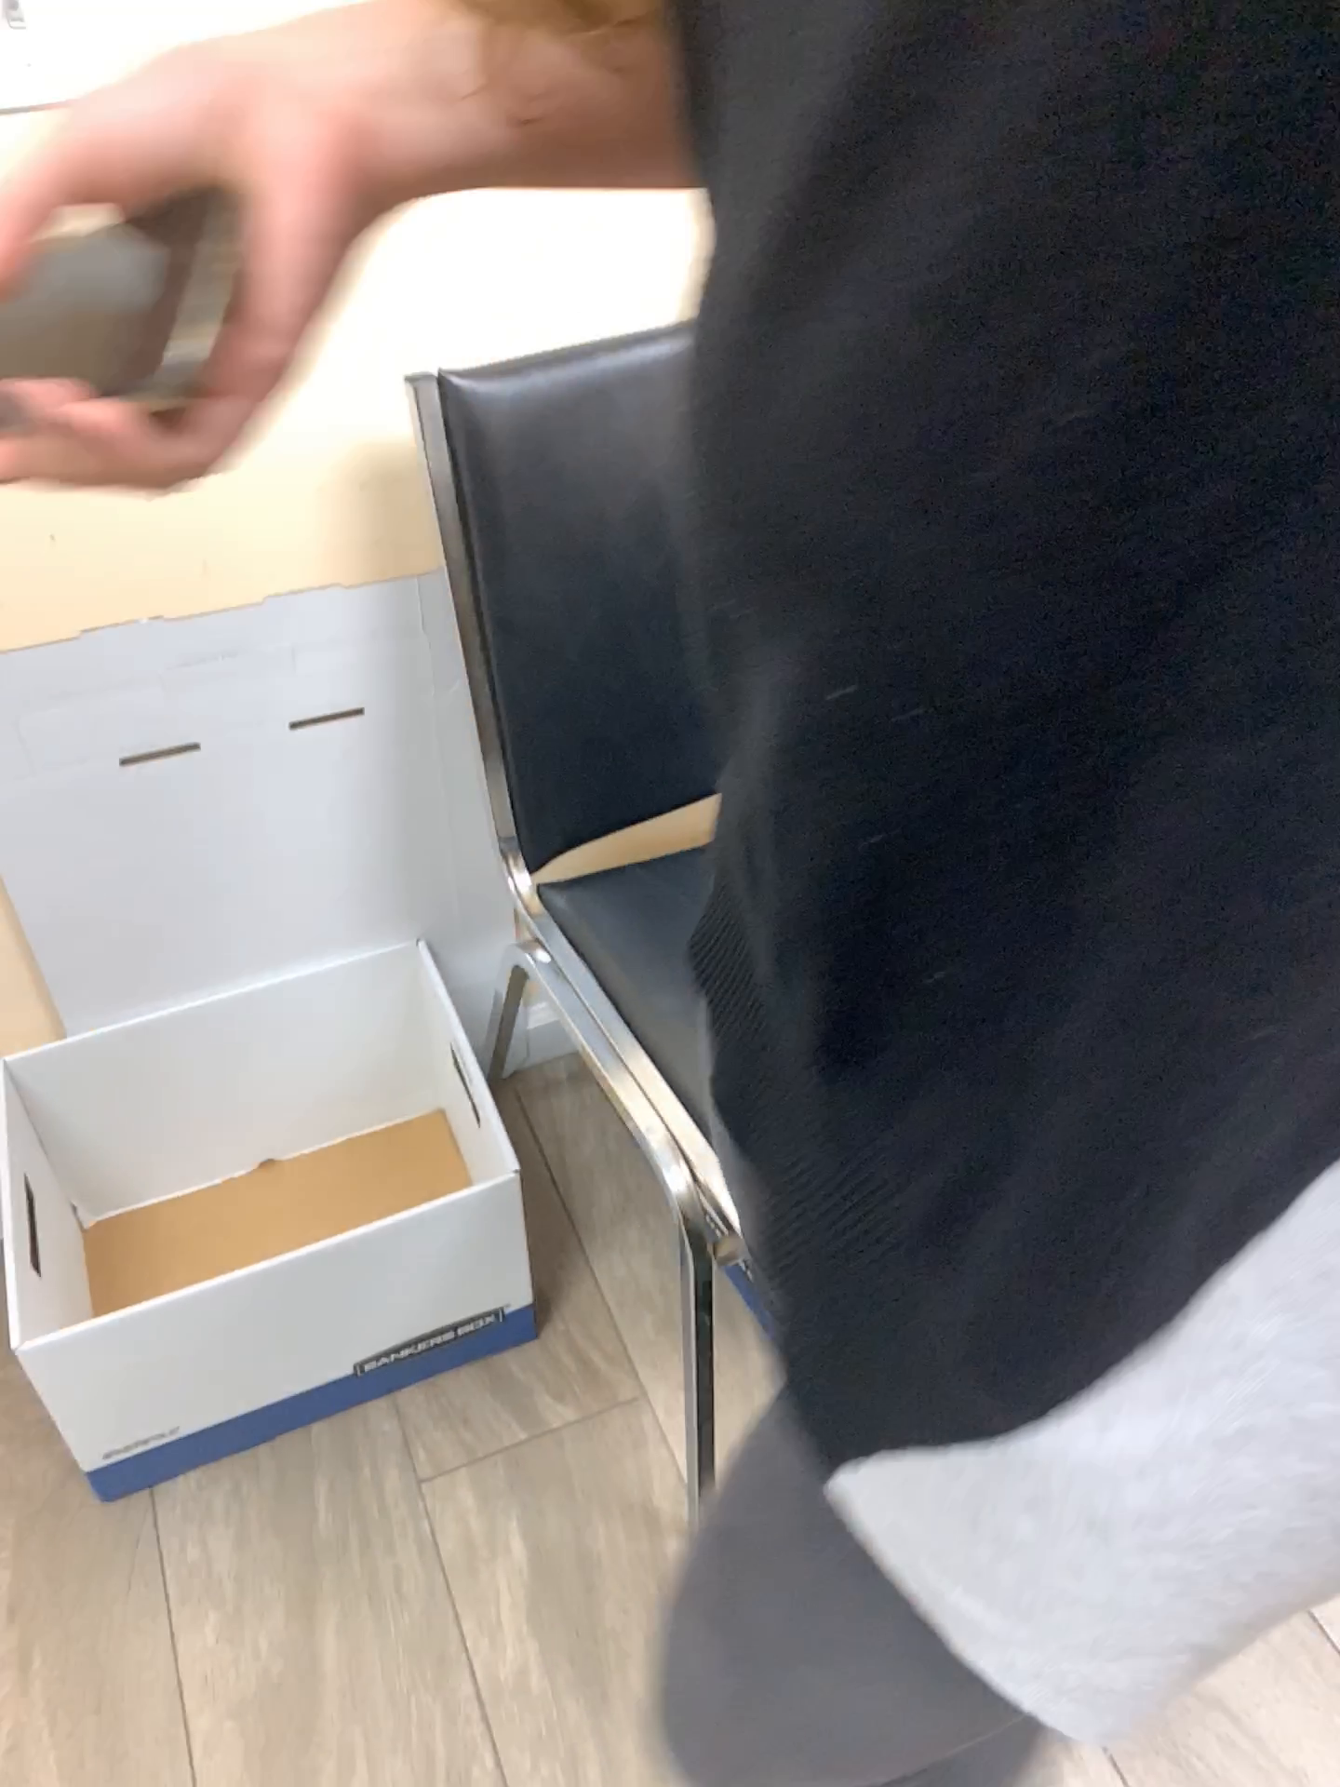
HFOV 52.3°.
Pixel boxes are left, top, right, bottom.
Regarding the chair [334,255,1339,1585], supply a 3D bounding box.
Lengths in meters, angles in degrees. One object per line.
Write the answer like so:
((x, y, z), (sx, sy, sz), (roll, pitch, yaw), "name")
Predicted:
((0.138, 0.027, 1.116), (0.555, 0.813, 0.530), (-19, 47, -20), "chair")
